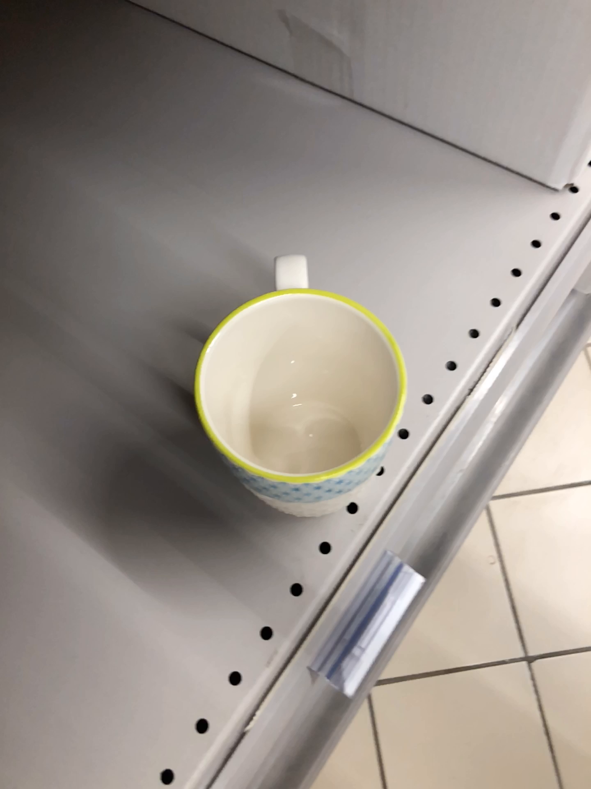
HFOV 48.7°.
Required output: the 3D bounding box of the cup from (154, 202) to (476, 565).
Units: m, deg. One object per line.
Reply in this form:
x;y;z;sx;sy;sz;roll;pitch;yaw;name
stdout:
0.005;0.000;0.297;0.098;0.092;0.118;-14;67;-3;cup
